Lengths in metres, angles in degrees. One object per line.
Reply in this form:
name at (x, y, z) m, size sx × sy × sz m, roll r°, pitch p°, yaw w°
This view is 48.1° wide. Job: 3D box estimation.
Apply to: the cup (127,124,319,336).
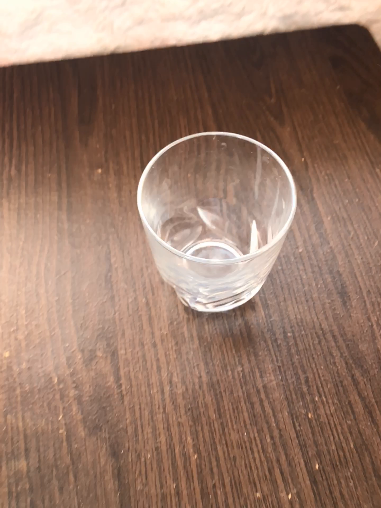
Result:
cup at (0.012, -0.009, 0.236) m, size 0.078 × 0.085 × 0.075 m, roll 0°, pitch 61°, yaw 1°
